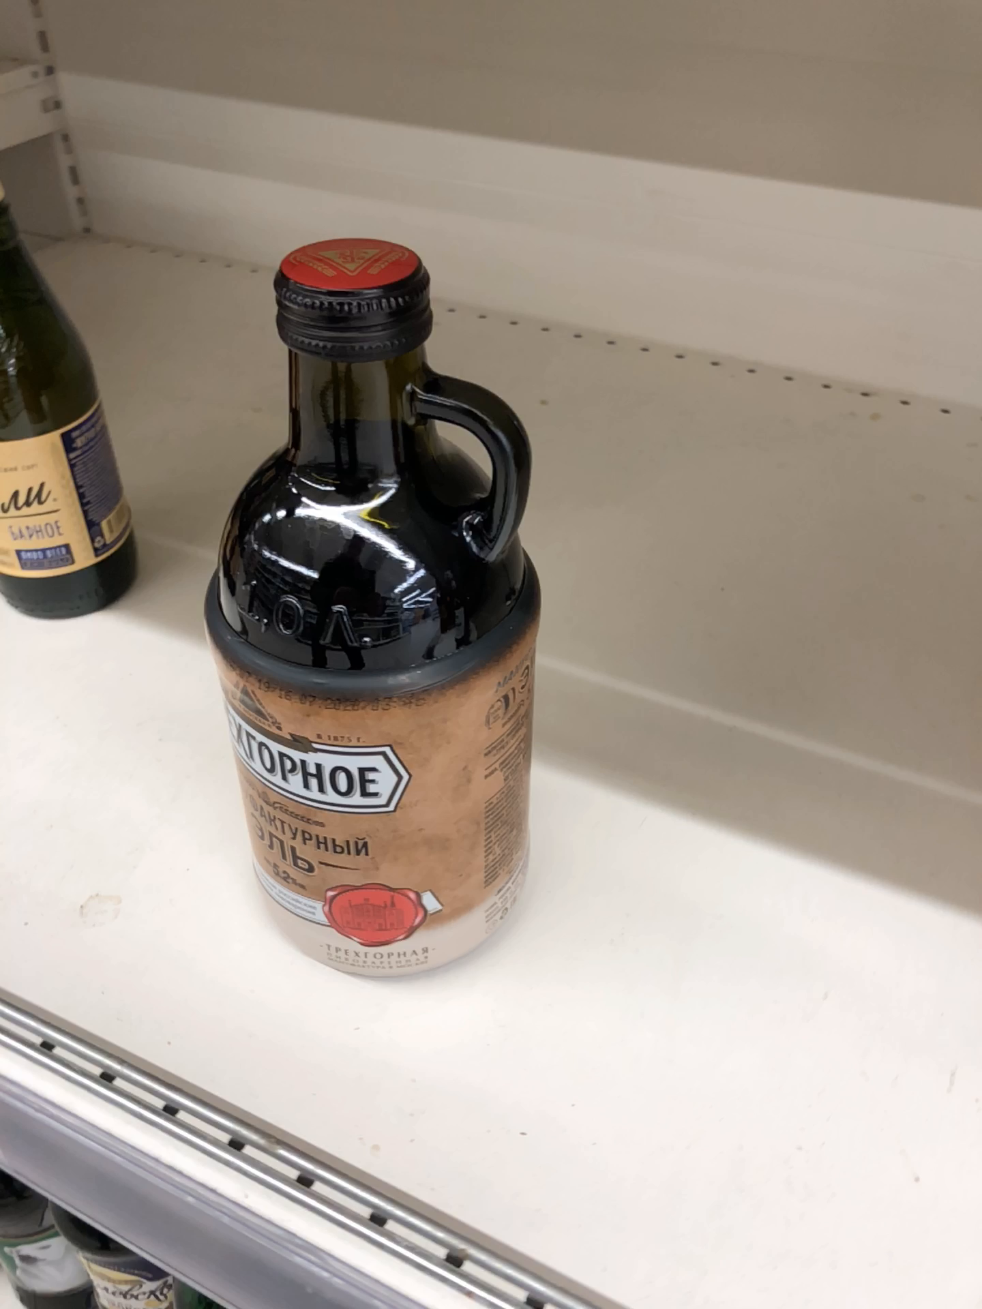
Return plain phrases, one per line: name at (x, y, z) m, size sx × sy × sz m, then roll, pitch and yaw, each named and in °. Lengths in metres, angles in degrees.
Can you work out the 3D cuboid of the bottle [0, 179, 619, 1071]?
bottle at (-0.044, -0.002, 0.326) m, size 0.110 × 0.225 × 0.100 m, roll 0°, pitch 40°, yaw 0°
